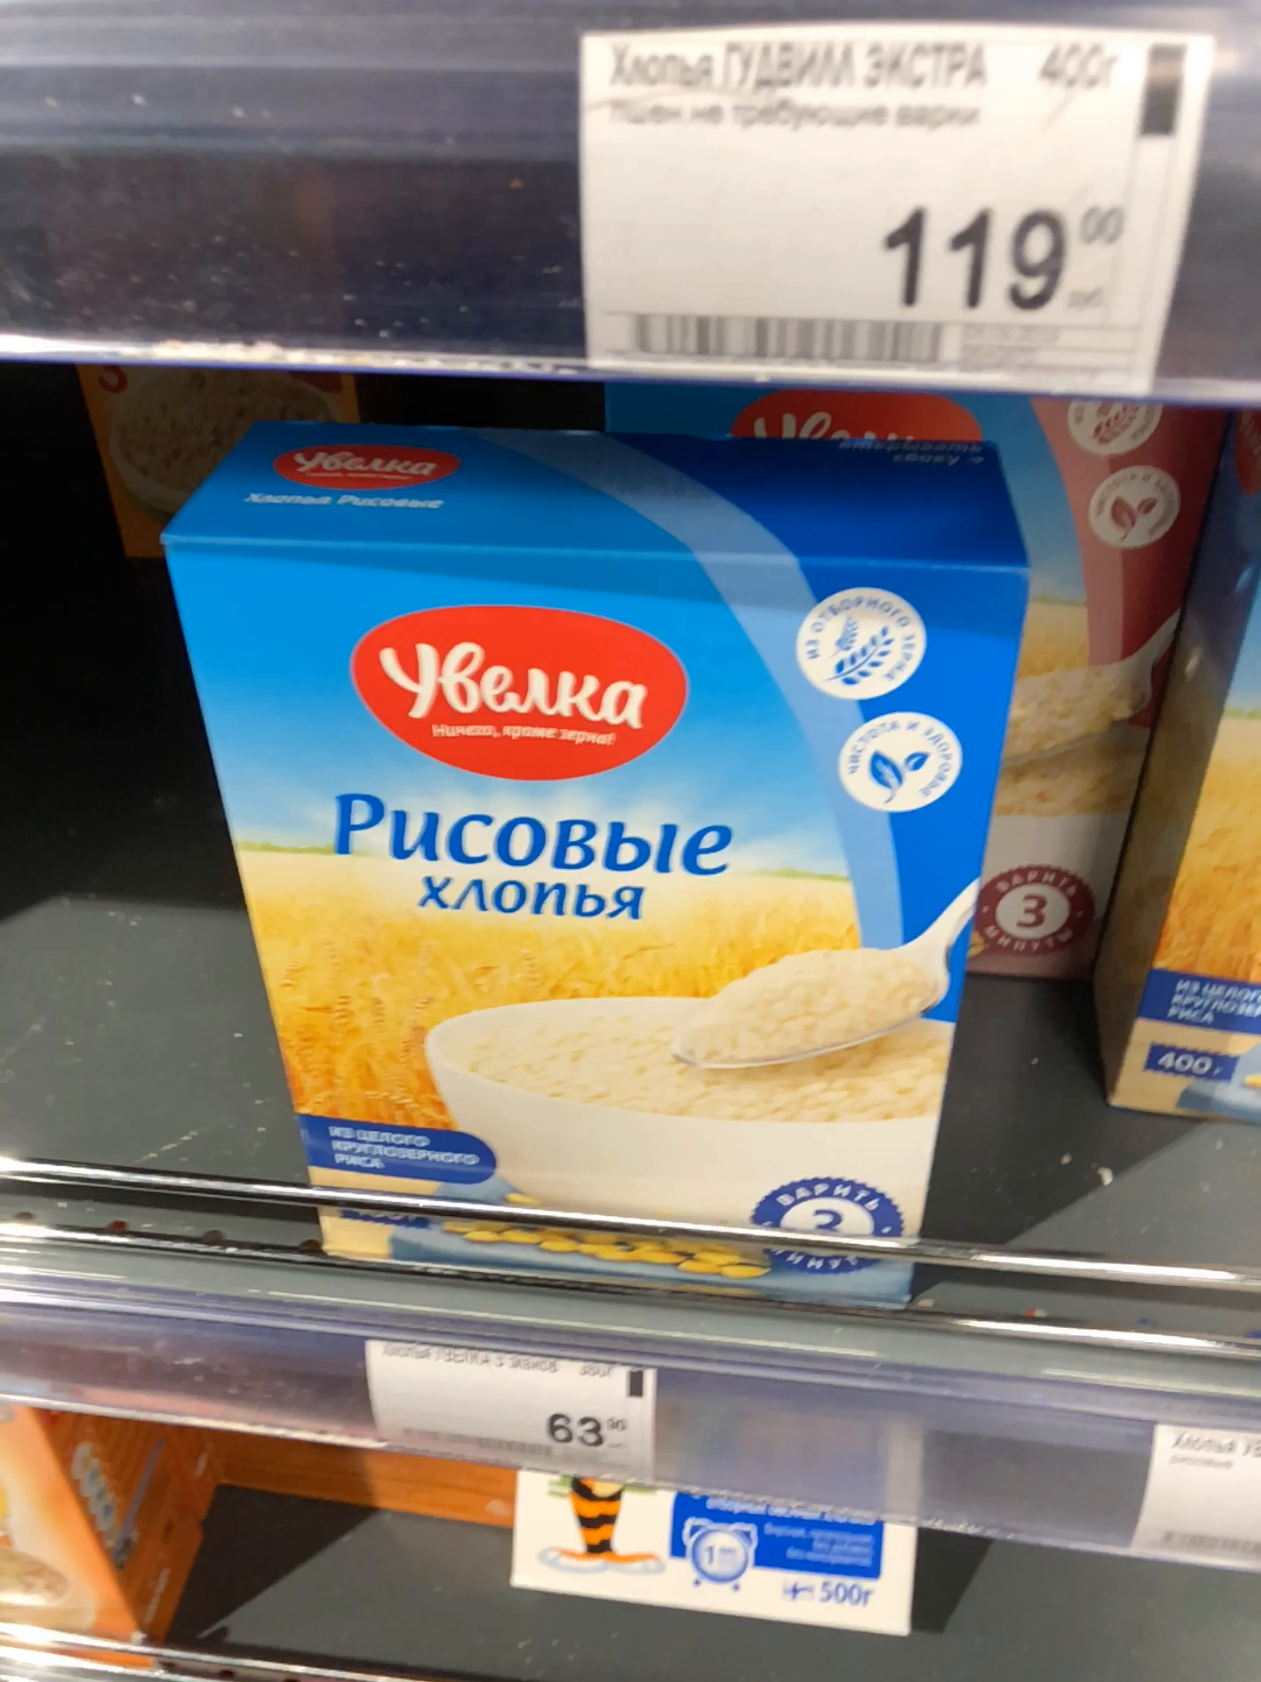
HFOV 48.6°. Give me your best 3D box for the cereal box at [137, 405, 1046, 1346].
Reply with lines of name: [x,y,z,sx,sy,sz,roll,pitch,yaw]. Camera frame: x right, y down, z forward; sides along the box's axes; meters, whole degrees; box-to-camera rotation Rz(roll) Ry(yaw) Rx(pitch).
cereal box: [-0.004,0.018,0.297,0.140,0.199,0.060,3,37,4]
